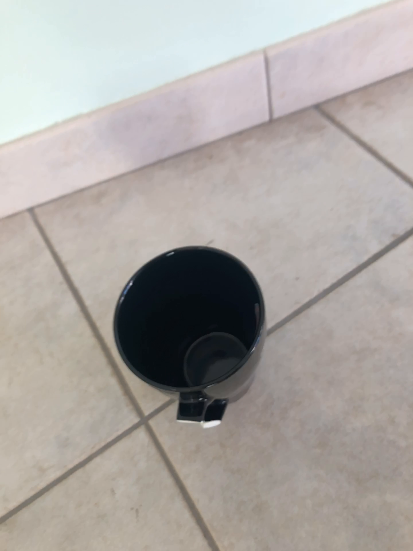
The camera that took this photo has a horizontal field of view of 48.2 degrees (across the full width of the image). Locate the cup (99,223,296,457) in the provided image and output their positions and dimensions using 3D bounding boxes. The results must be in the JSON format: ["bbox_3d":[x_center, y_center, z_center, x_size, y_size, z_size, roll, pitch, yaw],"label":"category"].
[{"bbox_3d":[-0.003,0.048,0.305,0.097,0.103,0.108,-13,61,5],"label":"cup"}]
